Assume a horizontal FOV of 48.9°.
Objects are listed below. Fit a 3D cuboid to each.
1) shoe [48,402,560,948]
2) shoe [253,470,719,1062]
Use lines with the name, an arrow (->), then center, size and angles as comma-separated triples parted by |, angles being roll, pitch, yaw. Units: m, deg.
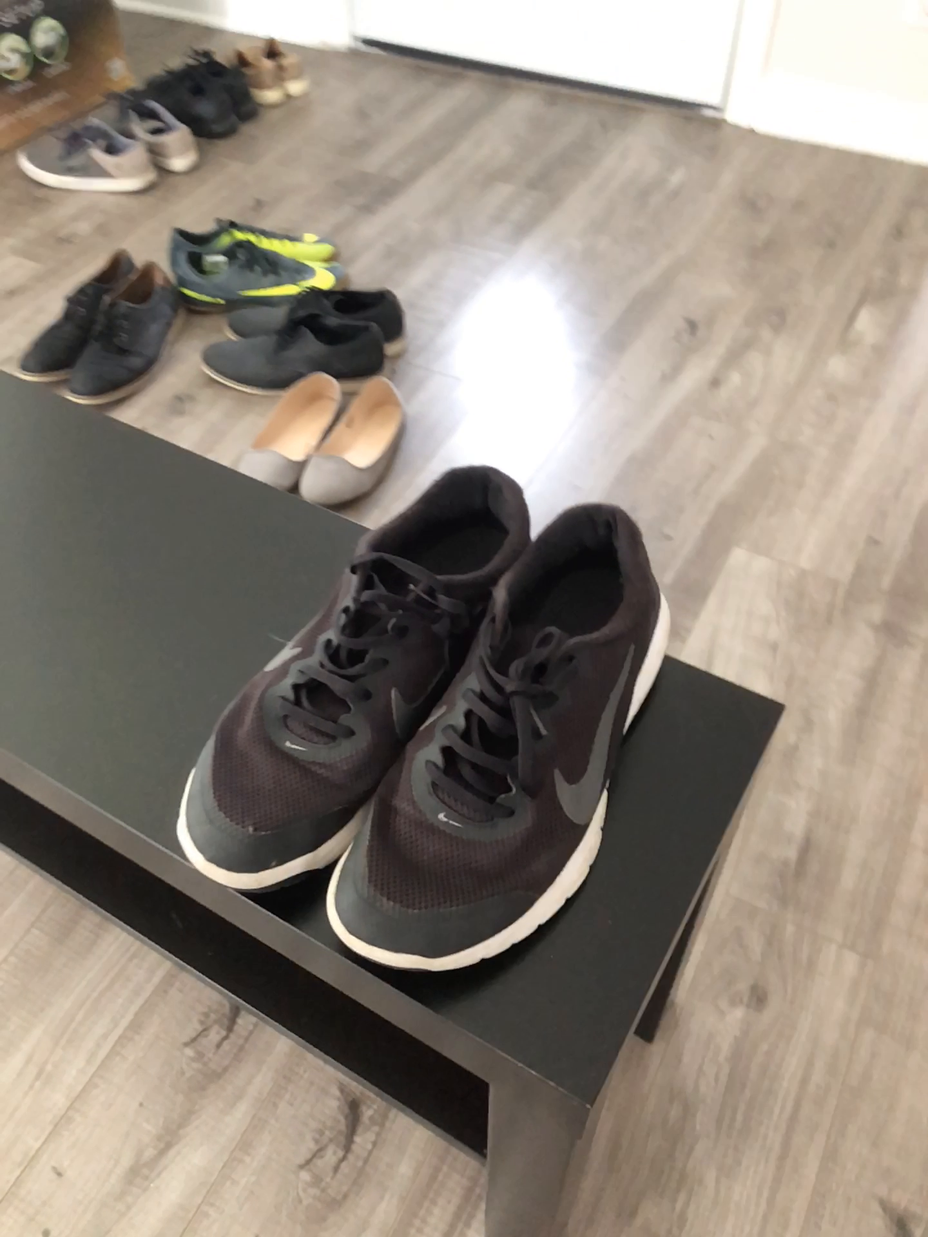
shoe -> -0.067, 0.017, 0.559 | 0.110, 0.100, 0.280 | 26, 57, 22
shoe -> 0.026, 0.063, 0.542 | 0.110, 0.110, 0.280 | 22, 54, 19
